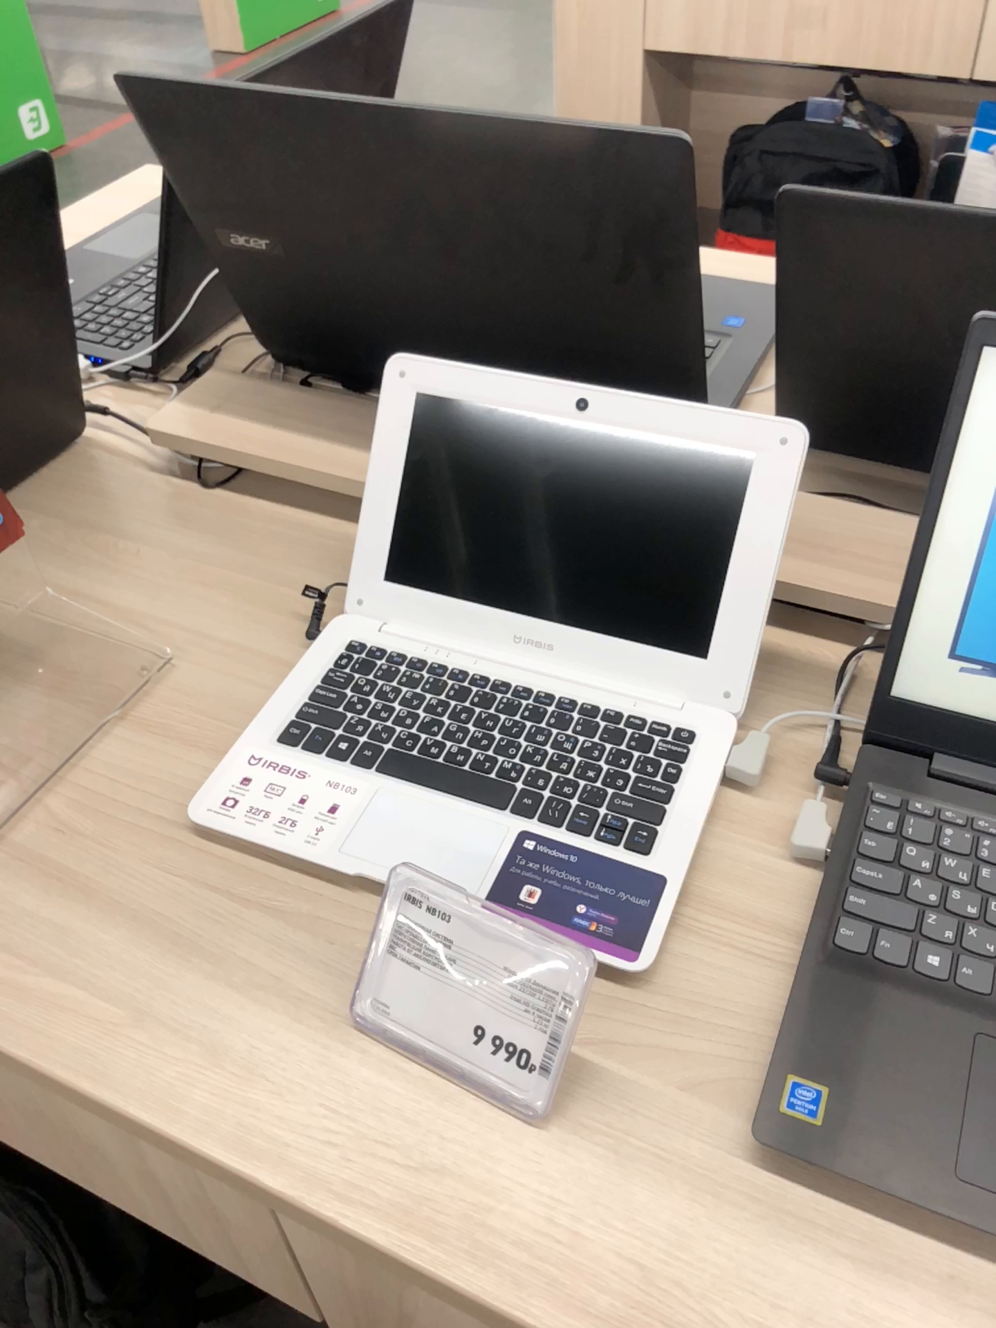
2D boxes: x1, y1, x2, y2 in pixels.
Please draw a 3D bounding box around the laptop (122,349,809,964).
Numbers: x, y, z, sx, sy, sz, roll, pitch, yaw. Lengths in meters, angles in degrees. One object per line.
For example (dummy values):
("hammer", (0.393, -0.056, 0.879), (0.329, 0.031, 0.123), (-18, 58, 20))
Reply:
("laptop", (0.001, -0.033, 0.688), (0.296, 0.144, 0.318), (15, 48, 20))
